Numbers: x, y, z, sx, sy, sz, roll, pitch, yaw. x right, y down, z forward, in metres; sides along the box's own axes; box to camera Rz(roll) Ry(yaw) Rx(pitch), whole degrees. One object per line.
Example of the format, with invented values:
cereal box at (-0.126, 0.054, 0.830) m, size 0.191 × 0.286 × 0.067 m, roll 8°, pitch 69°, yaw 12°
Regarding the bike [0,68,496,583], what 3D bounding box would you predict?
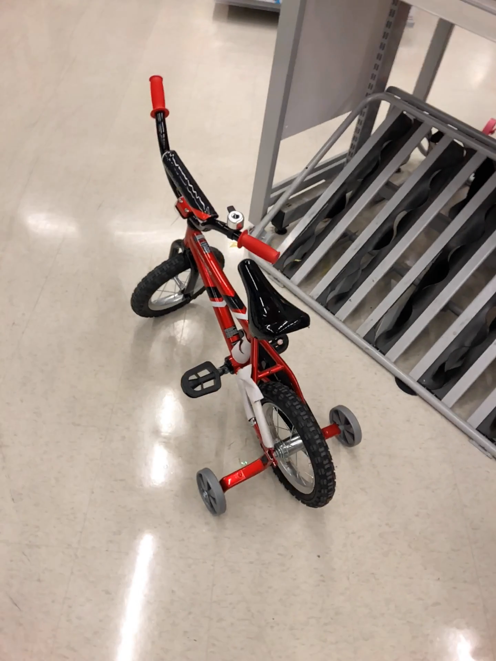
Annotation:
bike at (-0.033, -0.022, 1.158) m, size 0.532 × 0.678 × 0.701 m, roll -30°, pitch 60°, yaw -30°
